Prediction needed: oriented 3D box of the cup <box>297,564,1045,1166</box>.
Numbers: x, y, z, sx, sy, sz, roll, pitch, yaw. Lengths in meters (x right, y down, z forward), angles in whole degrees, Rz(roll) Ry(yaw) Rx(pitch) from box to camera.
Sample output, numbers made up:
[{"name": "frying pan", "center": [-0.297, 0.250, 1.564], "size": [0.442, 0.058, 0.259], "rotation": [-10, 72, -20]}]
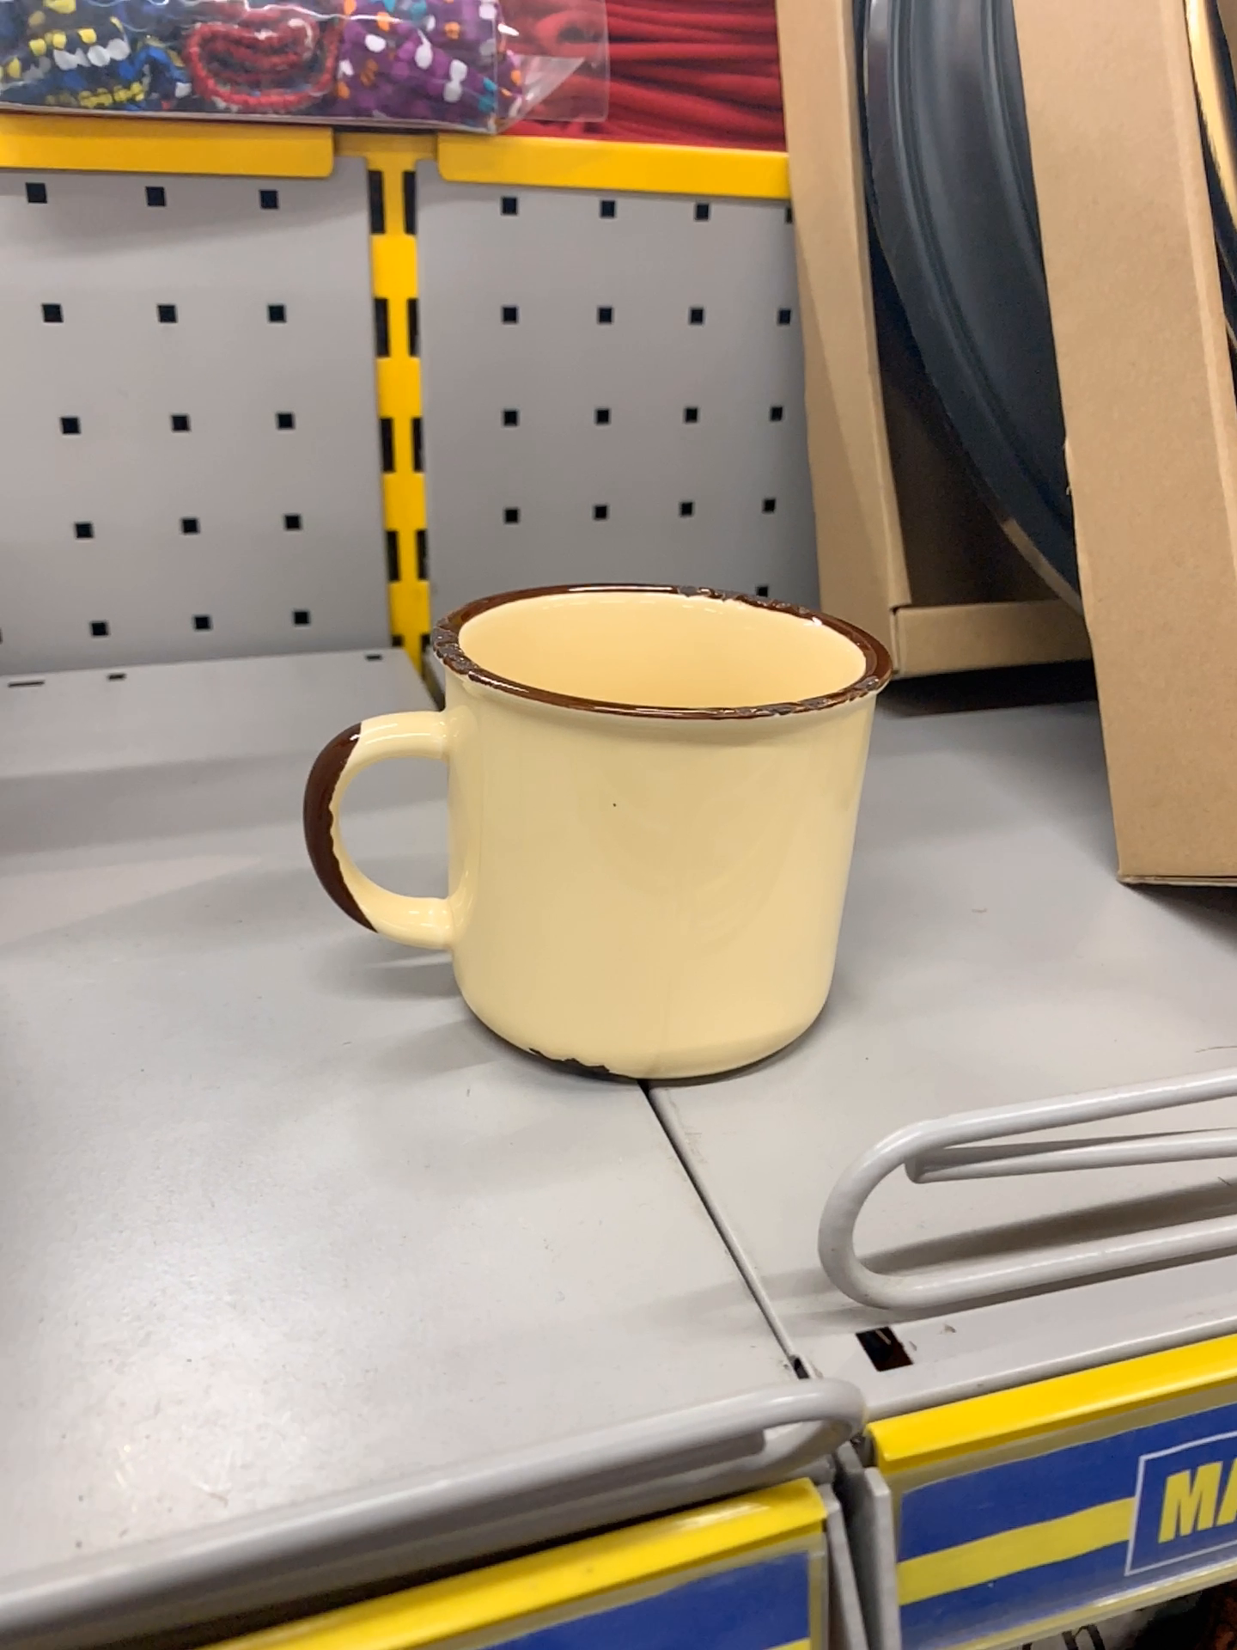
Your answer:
[{"name": "cup", "center": [0.001, 0.000, 0.257], "size": [0.120, 0.080, 0.090], "rotation": [-4, 26, -11]}]
